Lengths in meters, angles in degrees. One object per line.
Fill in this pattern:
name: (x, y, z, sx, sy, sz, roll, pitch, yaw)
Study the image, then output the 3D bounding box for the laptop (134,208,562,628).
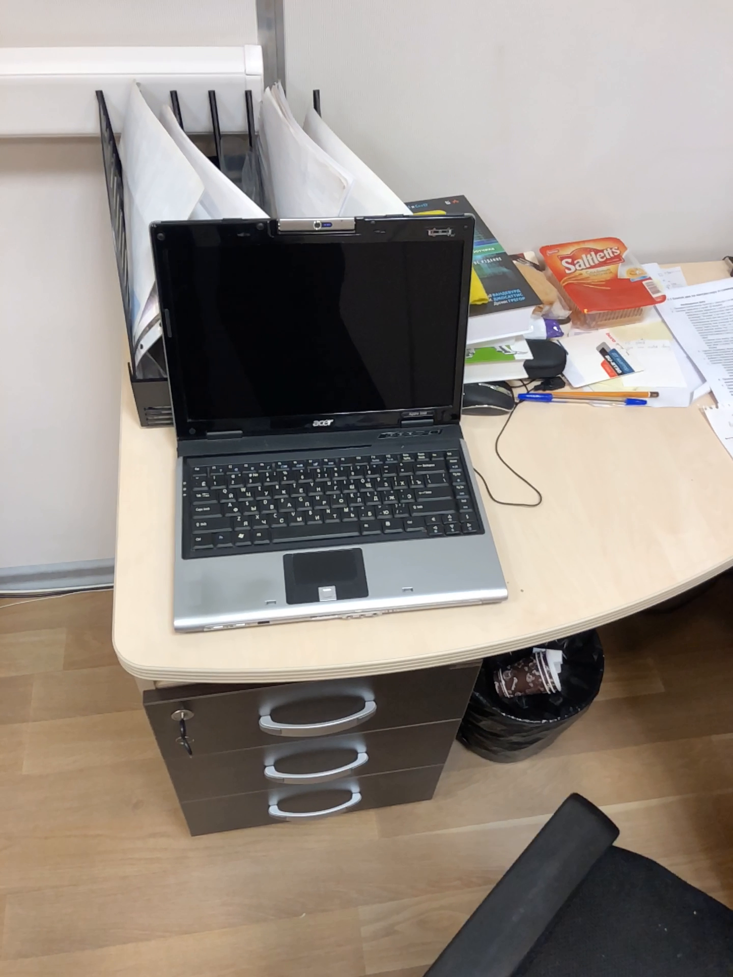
laptop: (-0.035, -0.078, 0.790, 0.326, 0.219, 0.324, -4, 52, -7)
